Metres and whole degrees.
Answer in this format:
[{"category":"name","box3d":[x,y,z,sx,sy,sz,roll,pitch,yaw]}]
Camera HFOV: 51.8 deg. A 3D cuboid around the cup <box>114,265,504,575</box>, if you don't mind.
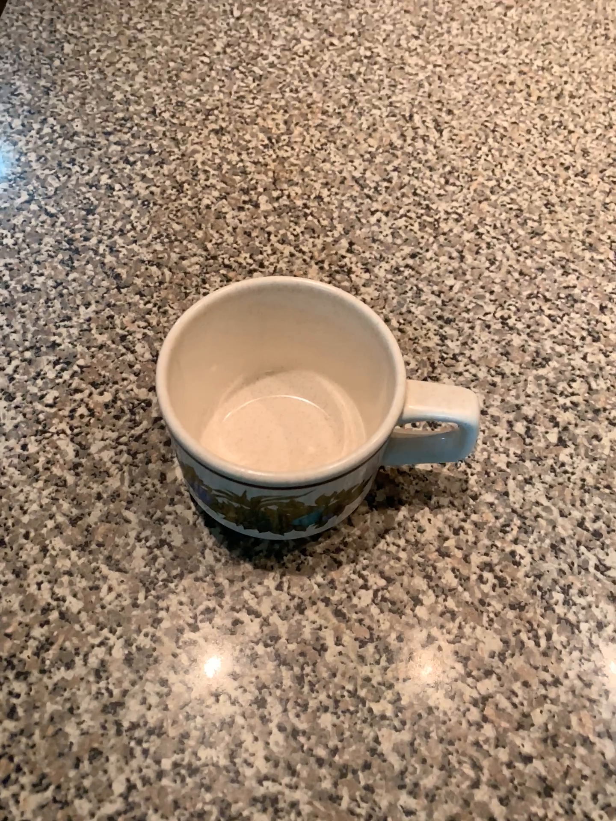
[{"category":"cup","box3d":[0.003,0.004,0.234,0.117,0.054,0.088,6,59,1]}]
